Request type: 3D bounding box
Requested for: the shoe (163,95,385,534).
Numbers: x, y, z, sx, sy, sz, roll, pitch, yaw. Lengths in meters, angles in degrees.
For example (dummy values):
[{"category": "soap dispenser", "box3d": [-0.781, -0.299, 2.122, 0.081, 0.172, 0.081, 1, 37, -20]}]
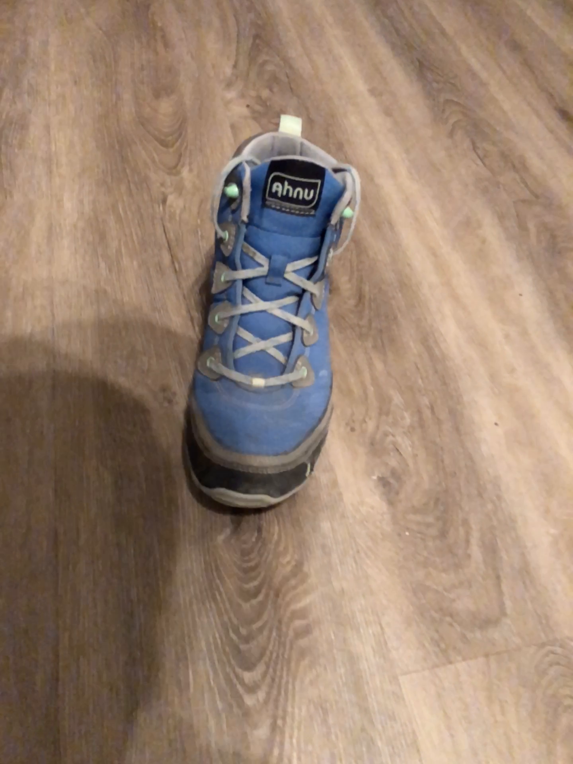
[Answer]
[{"category": "shoe", "box3d": [-0.011, -0.051, 0.418, 0.100, 0.139, 0.251, 7, 51, -6]}]
